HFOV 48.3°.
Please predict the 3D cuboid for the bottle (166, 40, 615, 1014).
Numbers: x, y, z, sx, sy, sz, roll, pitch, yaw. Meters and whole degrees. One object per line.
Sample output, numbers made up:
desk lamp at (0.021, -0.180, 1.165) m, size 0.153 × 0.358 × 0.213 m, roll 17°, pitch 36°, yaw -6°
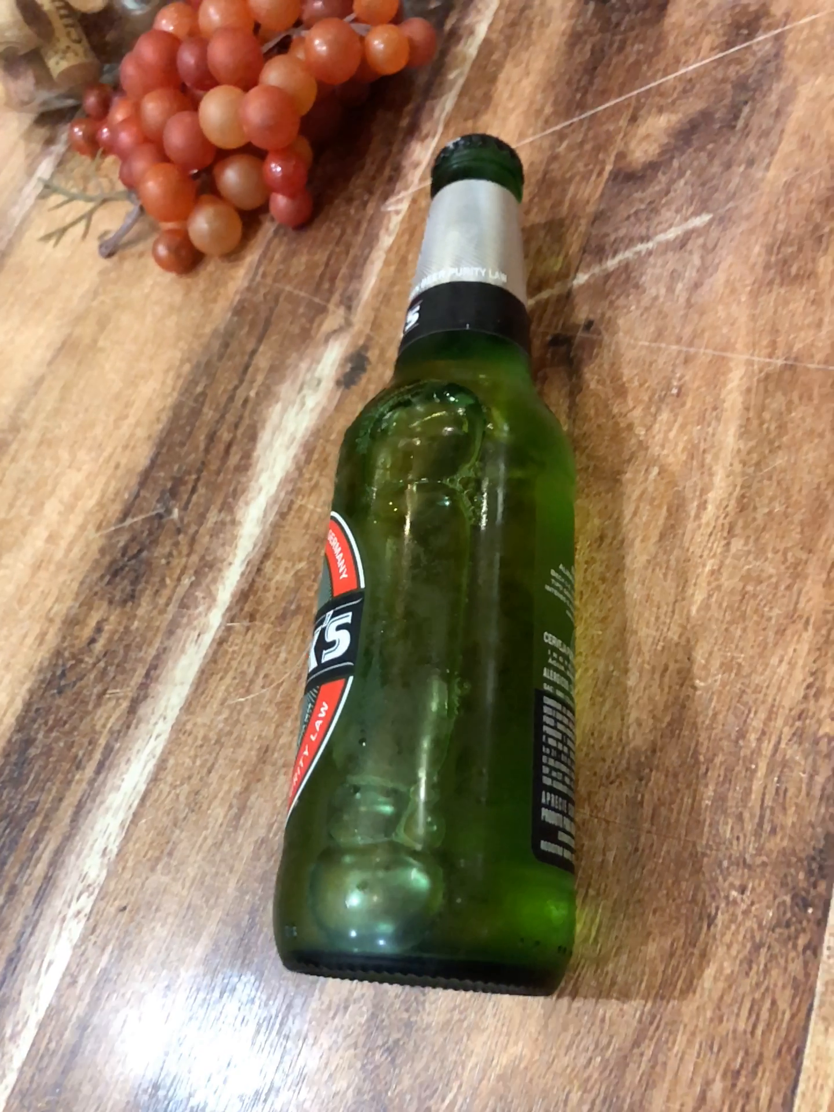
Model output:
bottle at (0.008, -0.019, 0.231) m, size 0.070 × 0.060 × 0.231 m, roll -5°, pitch 61°, yaw 18°
